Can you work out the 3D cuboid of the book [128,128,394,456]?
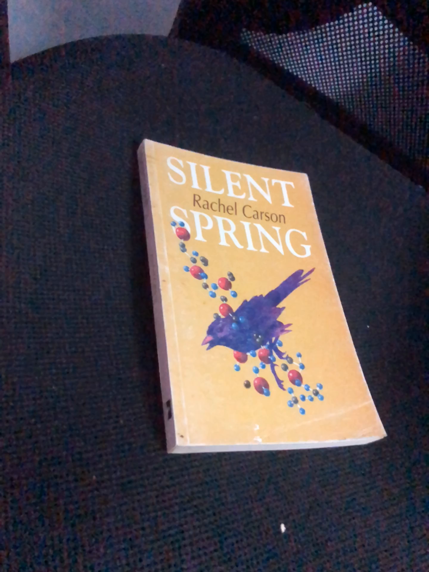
[{"bbox_3d":[0.023,-0.005,0.331,0.151,0.030,0.220,5,59,-24],"label":"book"}]
